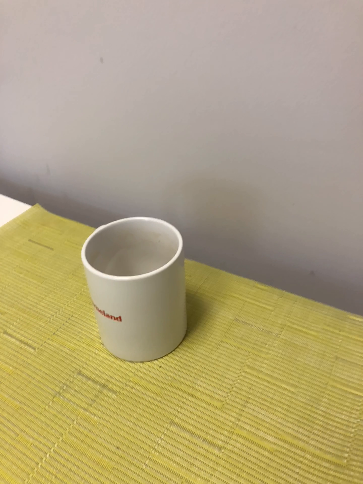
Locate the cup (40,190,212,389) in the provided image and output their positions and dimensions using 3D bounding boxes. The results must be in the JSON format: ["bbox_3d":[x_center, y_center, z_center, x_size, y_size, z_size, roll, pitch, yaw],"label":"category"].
[{"bbox_3d":[-0.046,0.034,0.350,0.089,0.100,0.114,-26,42,-30],"label":"cup"}]
